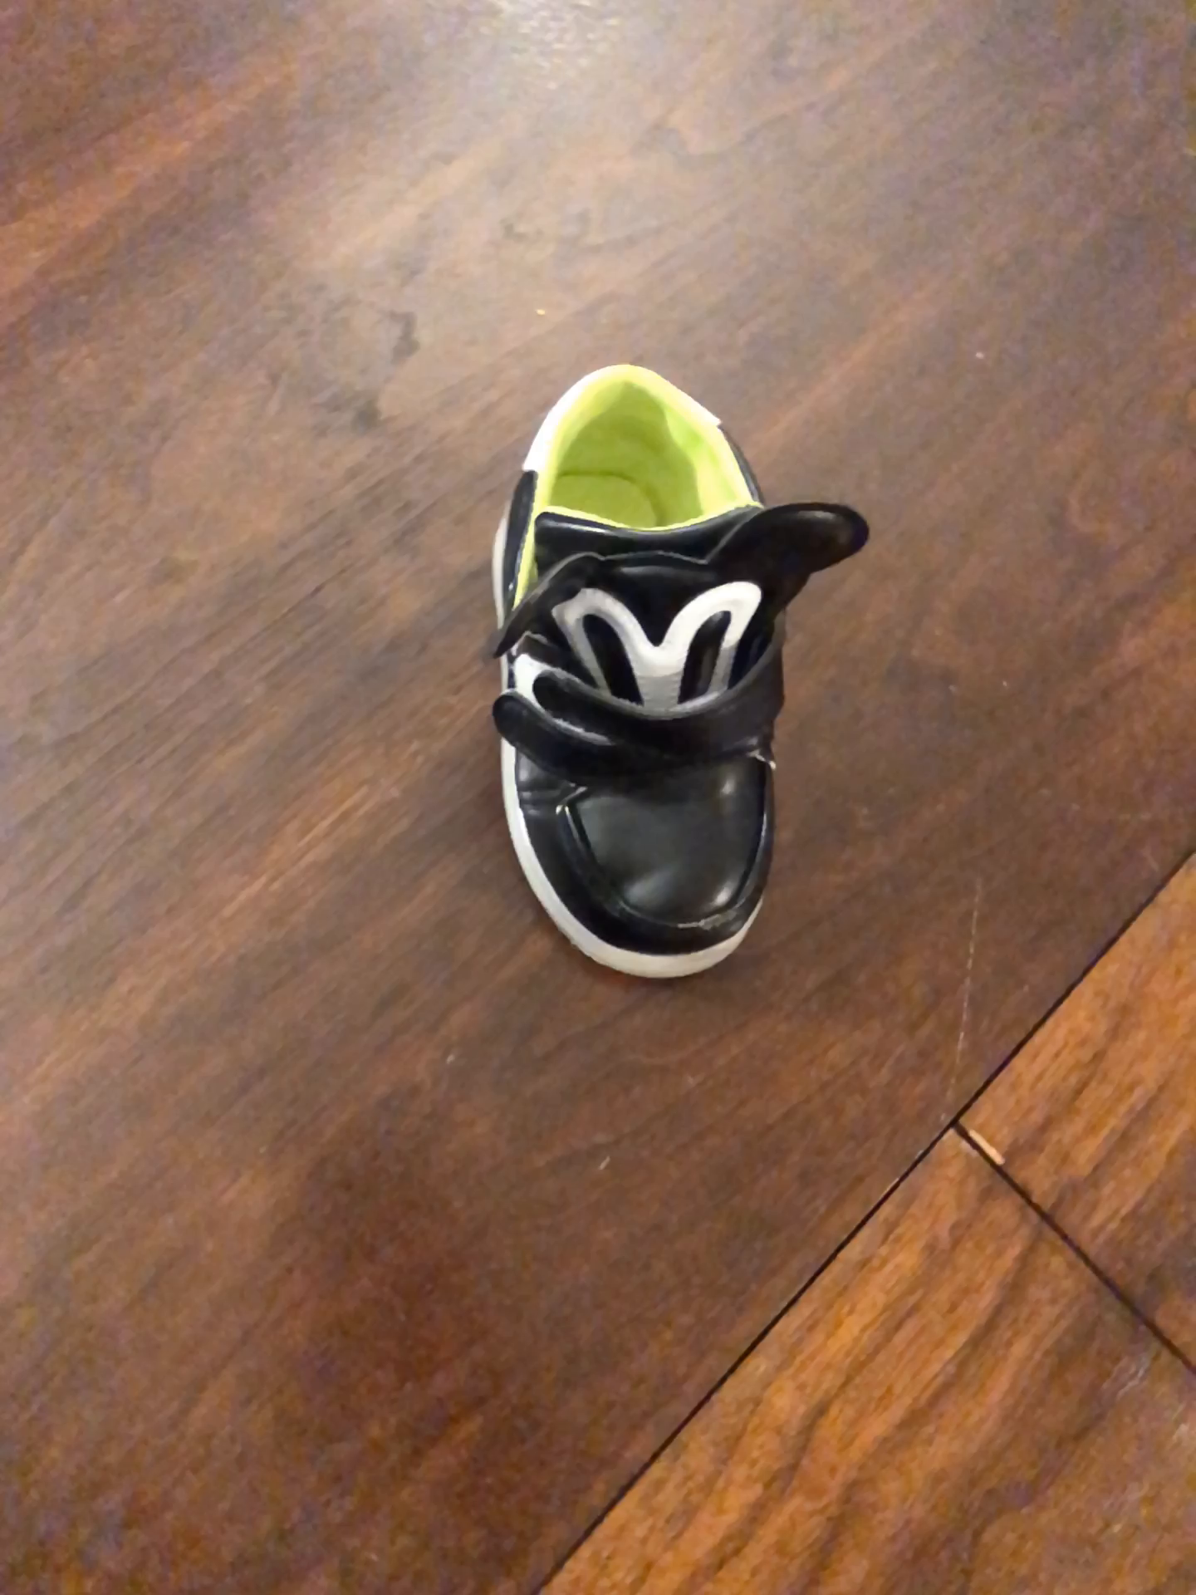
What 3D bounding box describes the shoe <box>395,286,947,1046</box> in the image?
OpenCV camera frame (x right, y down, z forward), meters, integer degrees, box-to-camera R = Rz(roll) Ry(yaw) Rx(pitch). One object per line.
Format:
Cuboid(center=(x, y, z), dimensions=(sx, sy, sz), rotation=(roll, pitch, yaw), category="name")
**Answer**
Cuboid(center=(0.007, -0.026, 0.326), dimensions=(0.090, 0.100, 0.150), rotation=(-8, 76, -10), category="shoe")
